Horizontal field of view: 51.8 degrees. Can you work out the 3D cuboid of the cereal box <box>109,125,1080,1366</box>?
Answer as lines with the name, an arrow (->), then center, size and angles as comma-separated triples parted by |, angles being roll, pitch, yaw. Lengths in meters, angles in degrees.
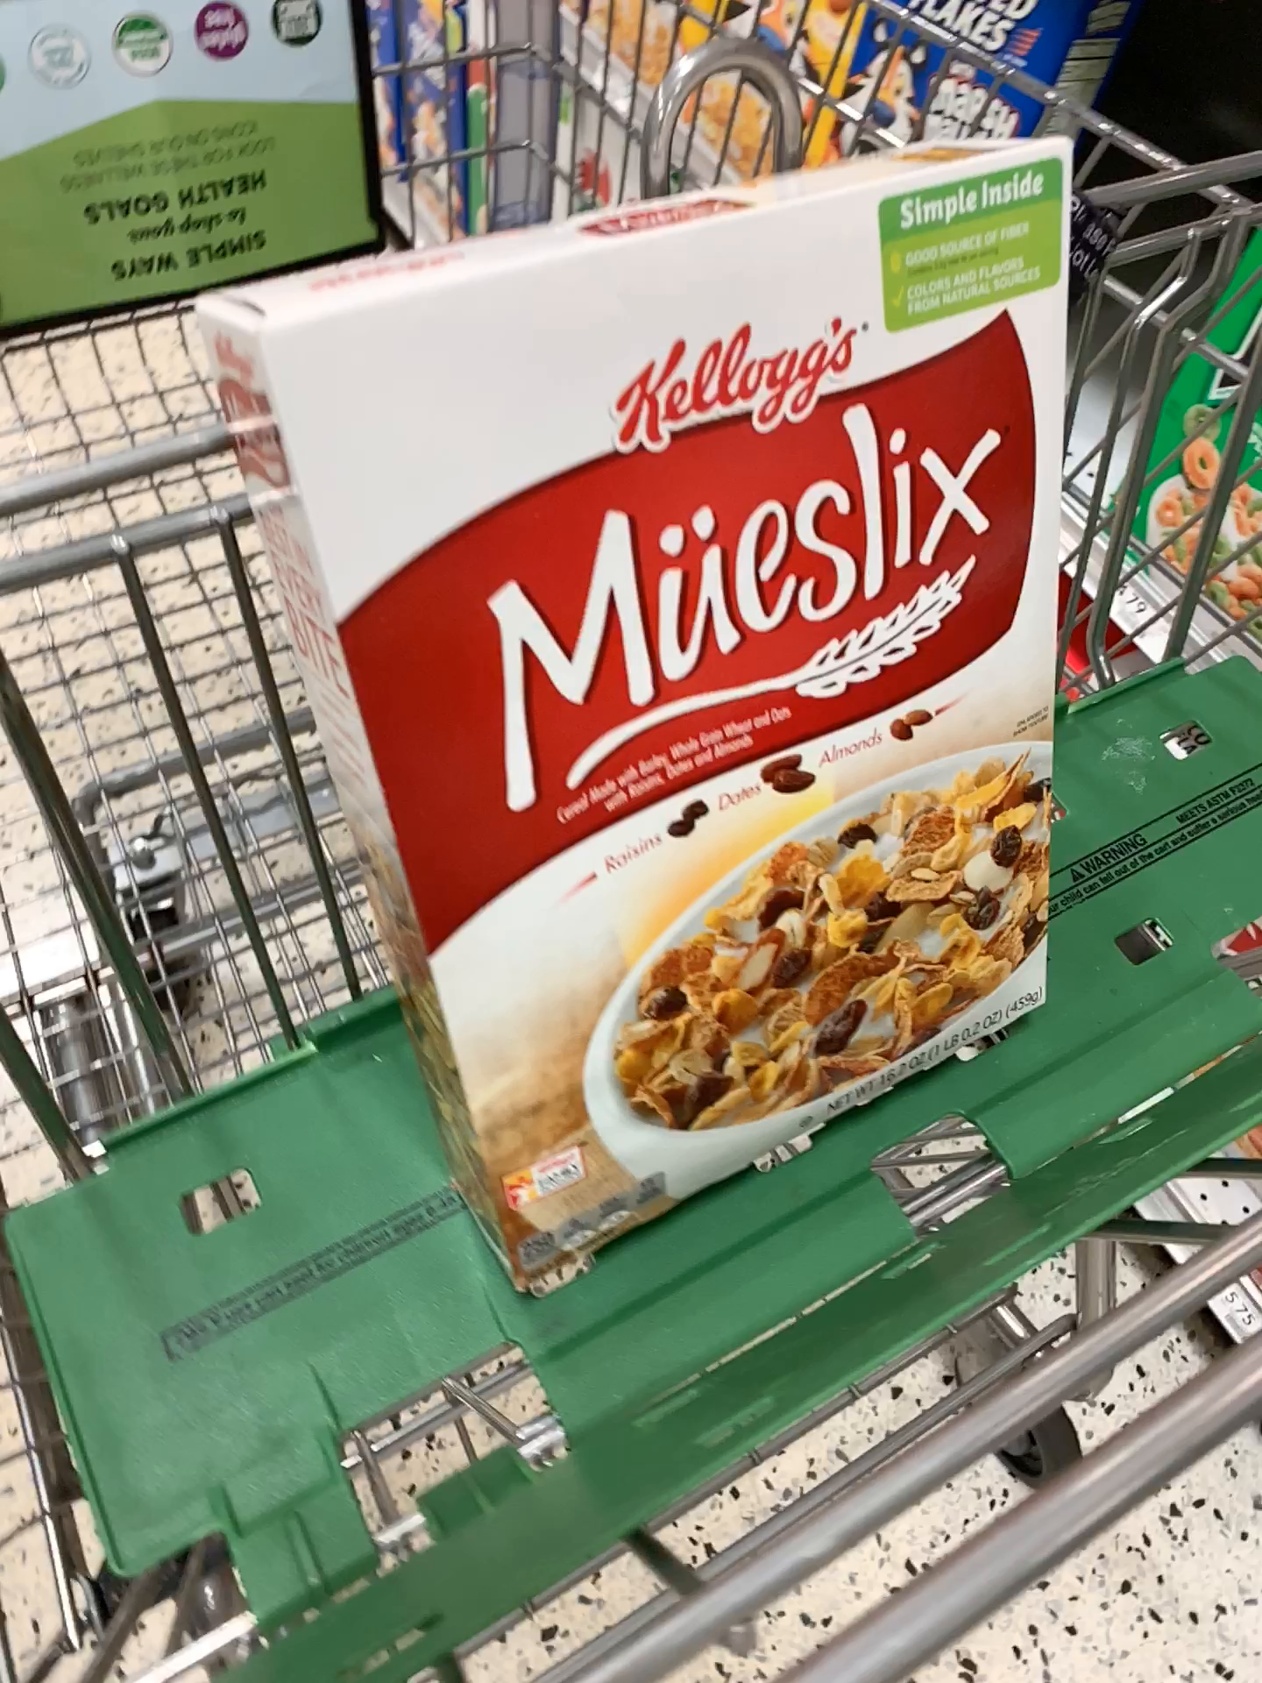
cereal box -> 0.016, -0.020, 0.341 | 0.201, 0.268, 0.060 | -23, 34, -21
